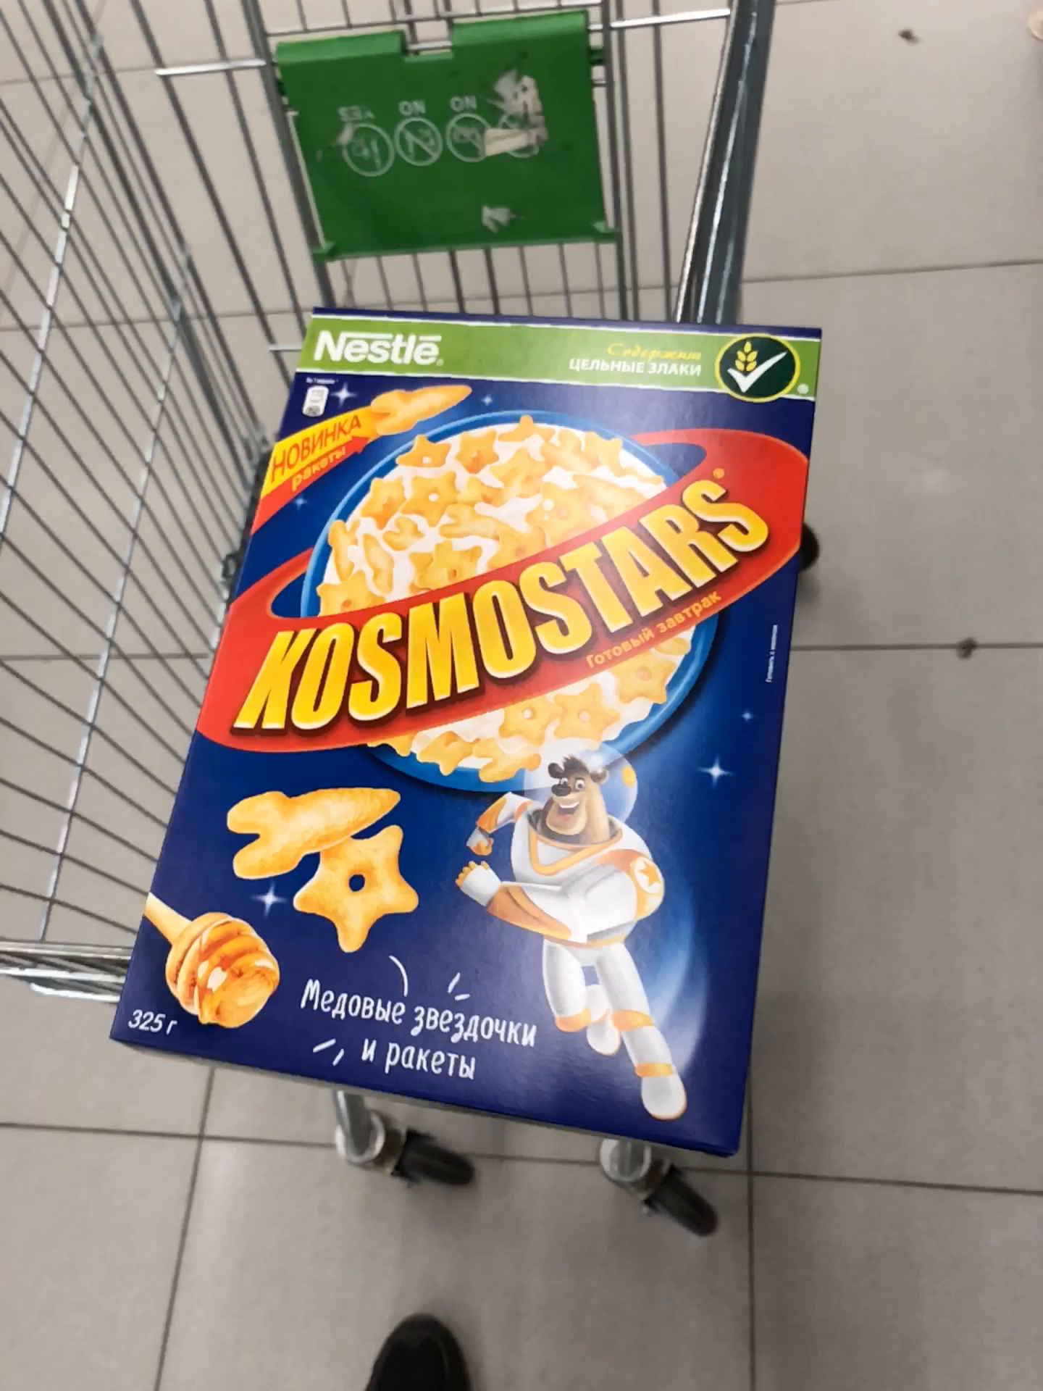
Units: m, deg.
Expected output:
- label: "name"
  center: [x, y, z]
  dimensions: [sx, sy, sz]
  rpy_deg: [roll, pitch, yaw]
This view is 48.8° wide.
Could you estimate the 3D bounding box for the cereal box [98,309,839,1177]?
- label: "cereal box"
  center: [-0.004, 0.000, 0.405]
  dimensions: [0.200, 0.060, 0.281]
  rpy_deg: [6, 70, 13]
